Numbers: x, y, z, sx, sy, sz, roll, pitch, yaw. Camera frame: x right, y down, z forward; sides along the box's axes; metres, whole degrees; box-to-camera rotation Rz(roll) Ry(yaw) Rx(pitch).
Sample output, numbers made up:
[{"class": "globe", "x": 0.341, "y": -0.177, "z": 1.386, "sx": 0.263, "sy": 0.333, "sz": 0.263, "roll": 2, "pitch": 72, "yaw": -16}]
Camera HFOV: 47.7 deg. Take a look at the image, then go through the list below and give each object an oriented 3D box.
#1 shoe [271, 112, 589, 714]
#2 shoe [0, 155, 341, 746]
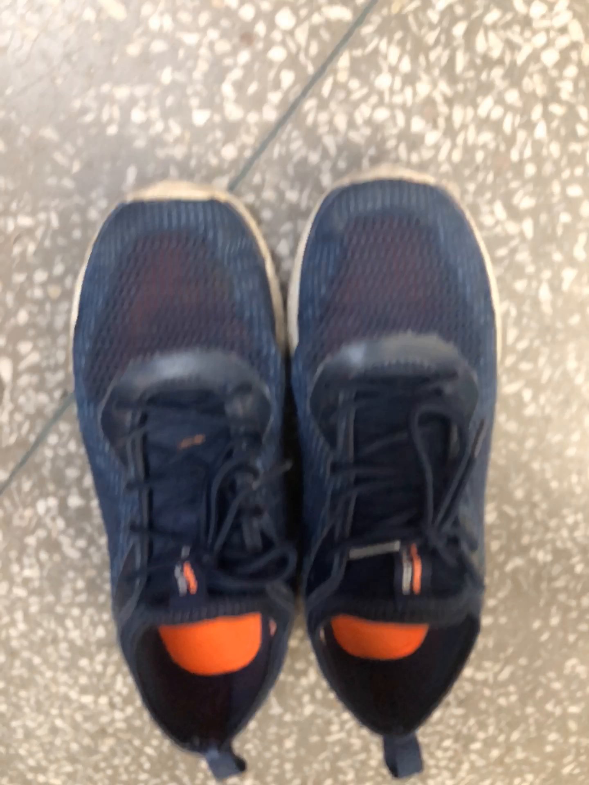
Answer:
[{"class": "shoe", "x": 0.061, "y": 0.011, "z": 0.311, "sx": 0.123, "sy": 0.100, "sz": 0.250, "roll": -4, "pitch": 110, "yaw": 0}, {"class": "shoe", "x": -0.048, "y": 0.026, "z": 0.314, "sx": 0.113, "sy": 0.100, "sz": 0.250, "roll": -6, "pitch": 110, "yaw": 1}]
